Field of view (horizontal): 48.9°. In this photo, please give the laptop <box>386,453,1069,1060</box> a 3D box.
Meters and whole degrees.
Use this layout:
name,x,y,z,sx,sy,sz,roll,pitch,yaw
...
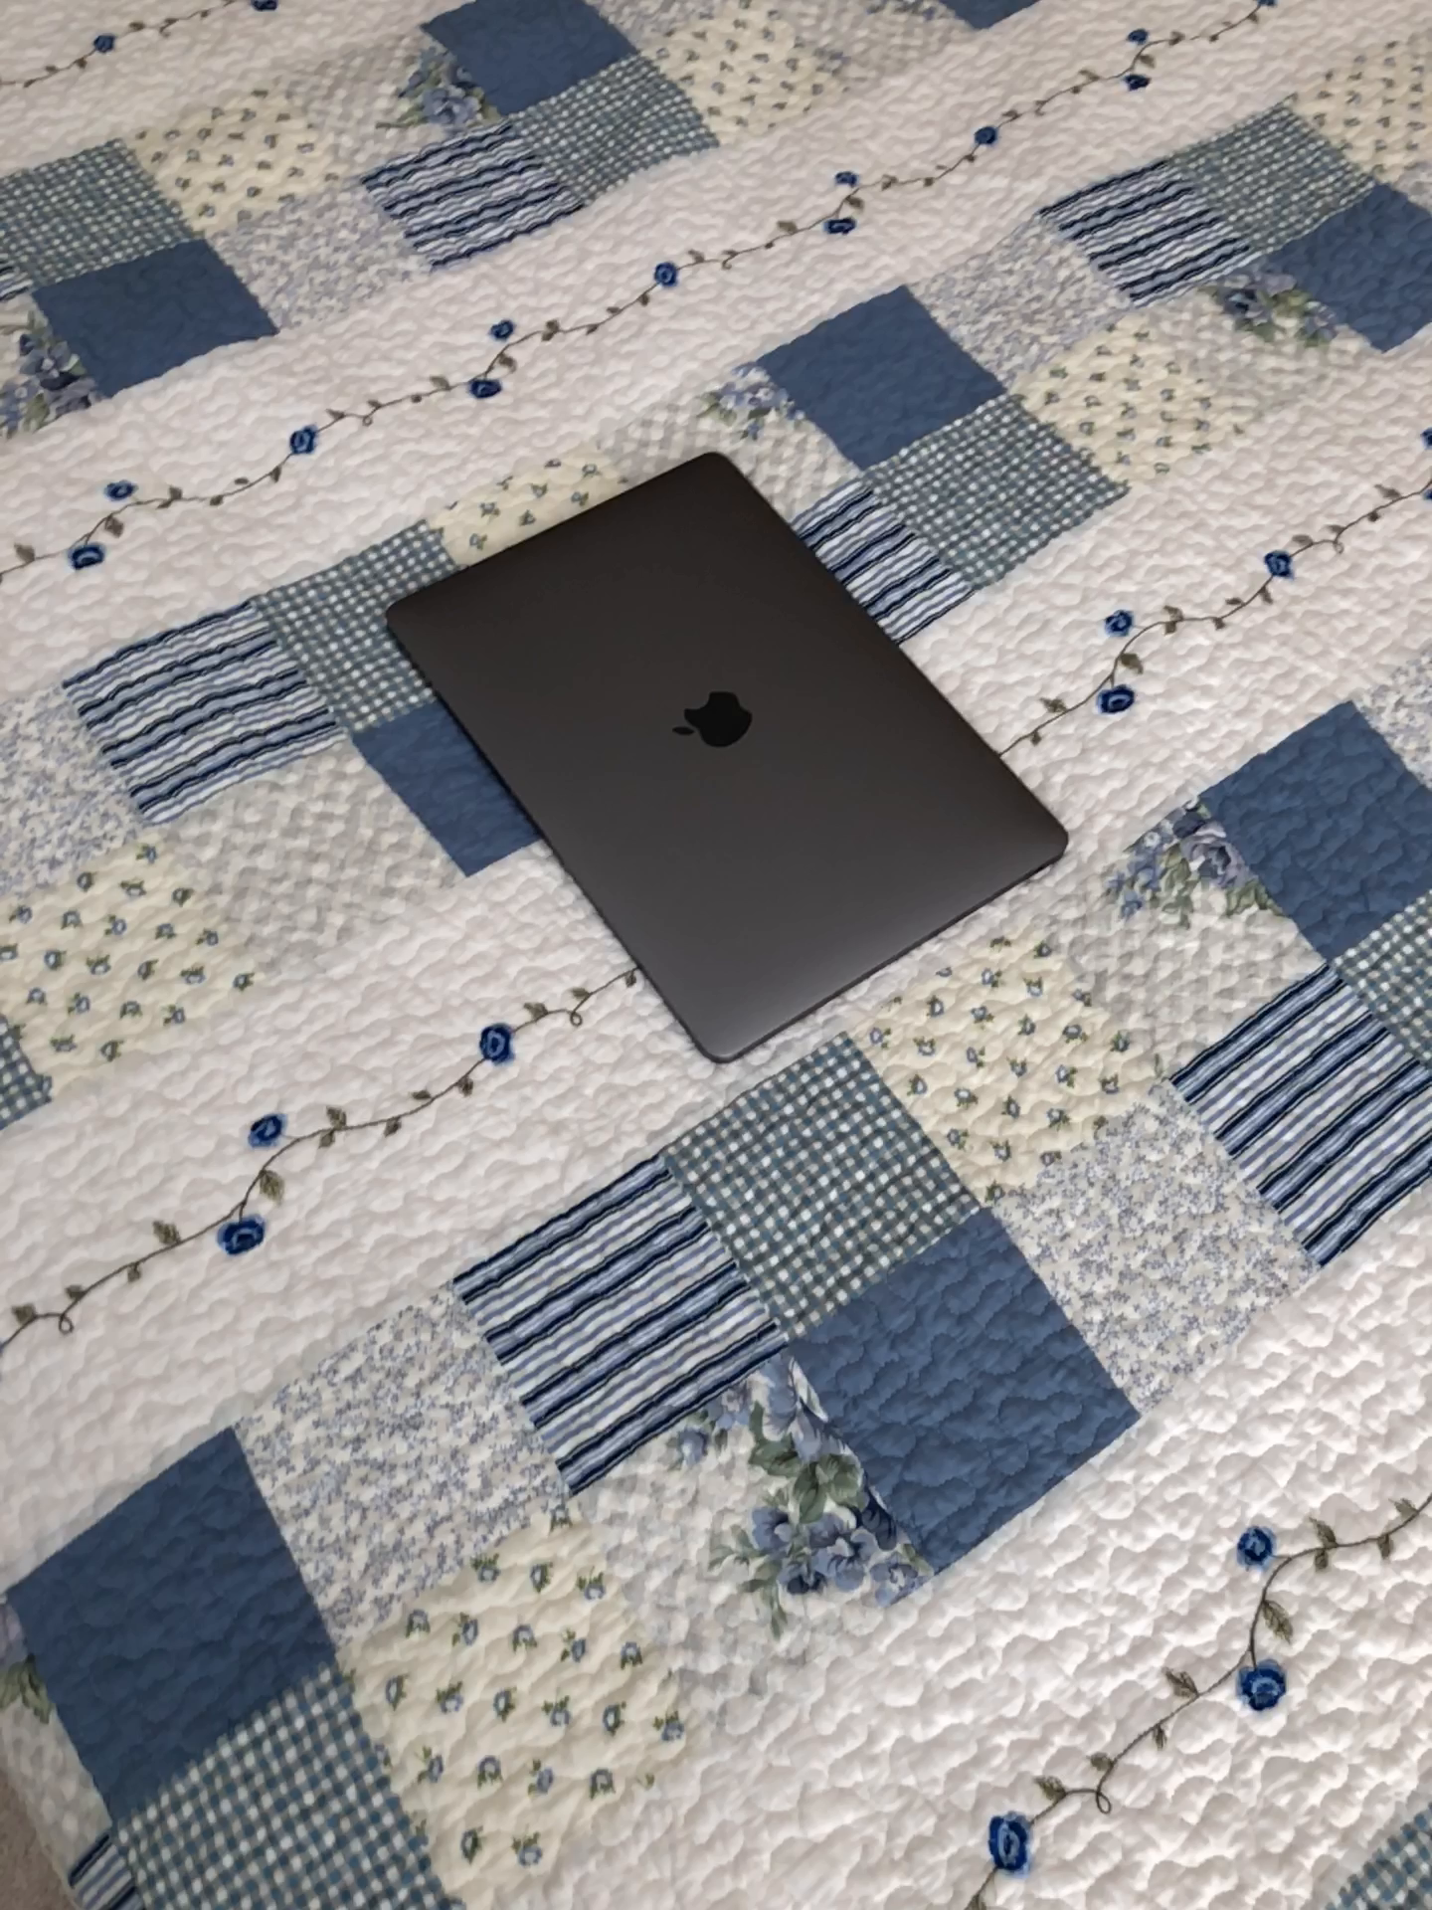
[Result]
name,x,y,z,sx,sy,sz,roll,pitch,yaw
laptop,0.001,-0.112,0.763,0.201,0.005,0.290,-30,68,-18
